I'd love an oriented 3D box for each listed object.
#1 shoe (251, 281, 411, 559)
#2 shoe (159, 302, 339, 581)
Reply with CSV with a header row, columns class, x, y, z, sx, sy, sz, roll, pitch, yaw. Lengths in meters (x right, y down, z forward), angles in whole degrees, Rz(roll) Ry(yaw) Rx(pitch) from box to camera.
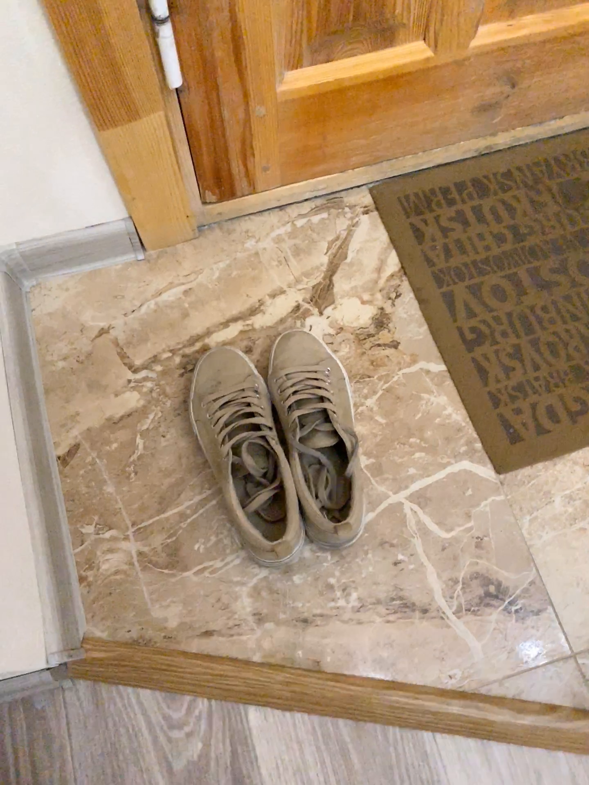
class,x,y,z,sx,sy,sz,roll,pitch,yaw
shoe,0.028,0.027,0.593,0.090,0.100,0.240,-12,69,-4
shoe,-0.046,0.048,0.595,0.090,0.100,0.240,-19,69,-7
